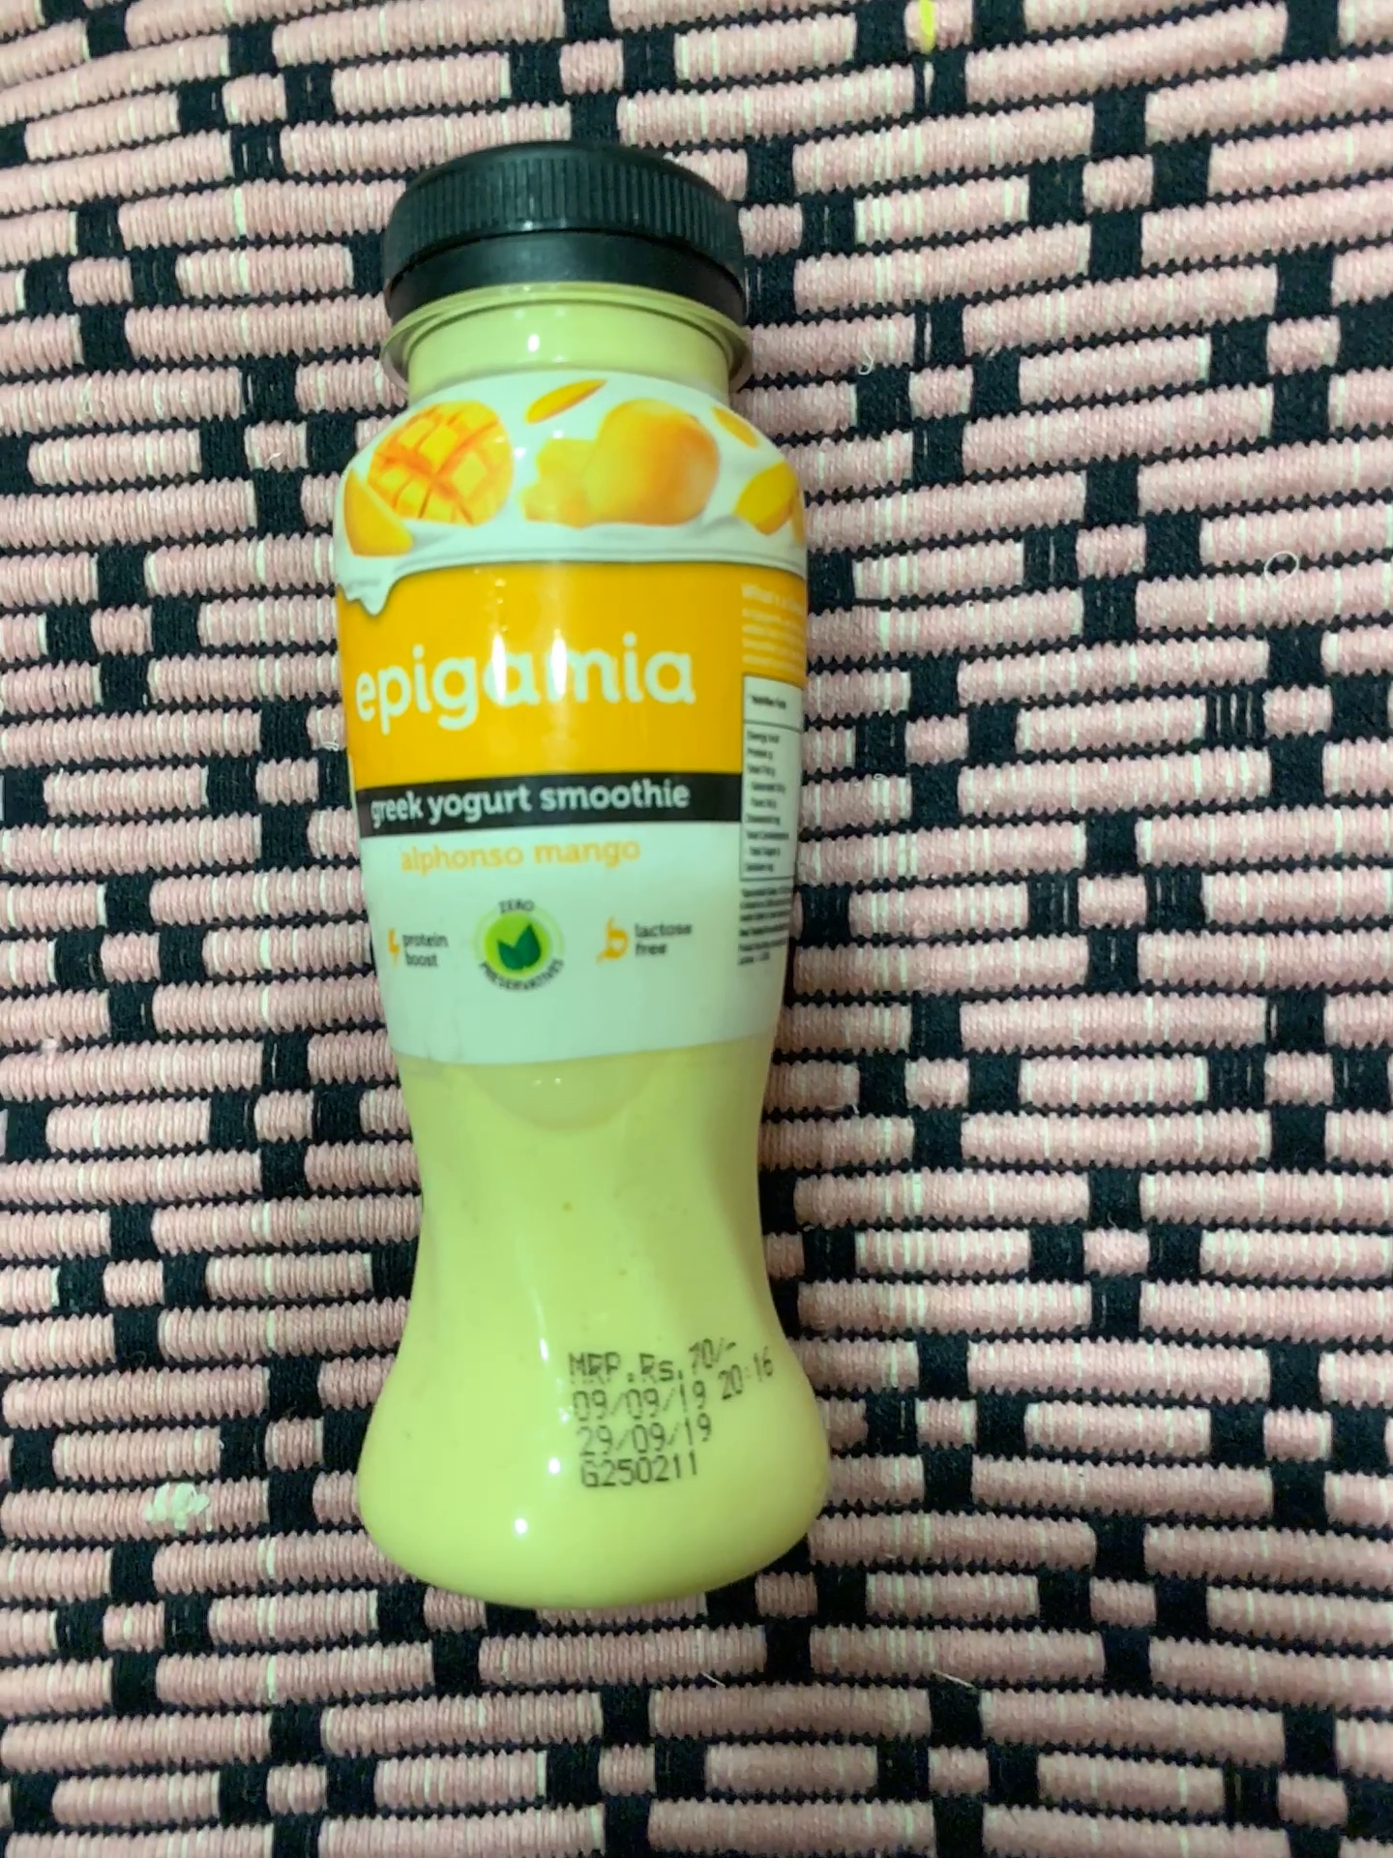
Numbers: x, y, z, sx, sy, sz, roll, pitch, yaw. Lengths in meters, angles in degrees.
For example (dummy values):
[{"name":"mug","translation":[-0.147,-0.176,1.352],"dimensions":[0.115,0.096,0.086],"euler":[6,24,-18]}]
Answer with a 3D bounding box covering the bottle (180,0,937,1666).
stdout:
[{"name":"bottle","translation":[-0.011,-0.013,0.166],"dimensions":[0.060,0.060,0.160],"euler":[-4,88,18]}]
